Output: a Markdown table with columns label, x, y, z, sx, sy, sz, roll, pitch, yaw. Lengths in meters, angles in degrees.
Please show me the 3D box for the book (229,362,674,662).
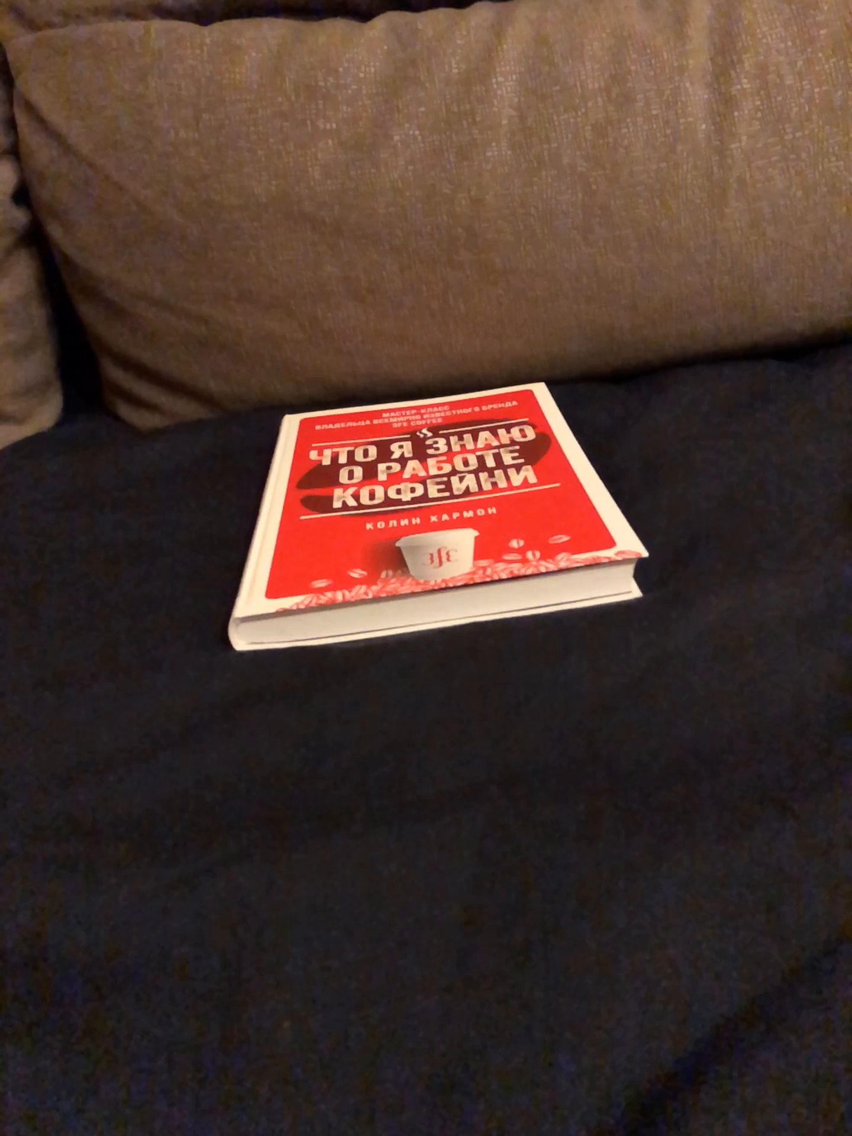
| label | x | y | z | sx | sy | sz | roll | pitch | yaw |
| --- | --- | --- | --- | --- | --- | --- | --- | --- | --- |
| book | 0.004 | -0.040 | 0.421 | 0.153 | 0.020 | 0.224 | -9 | 28 | 1 |
